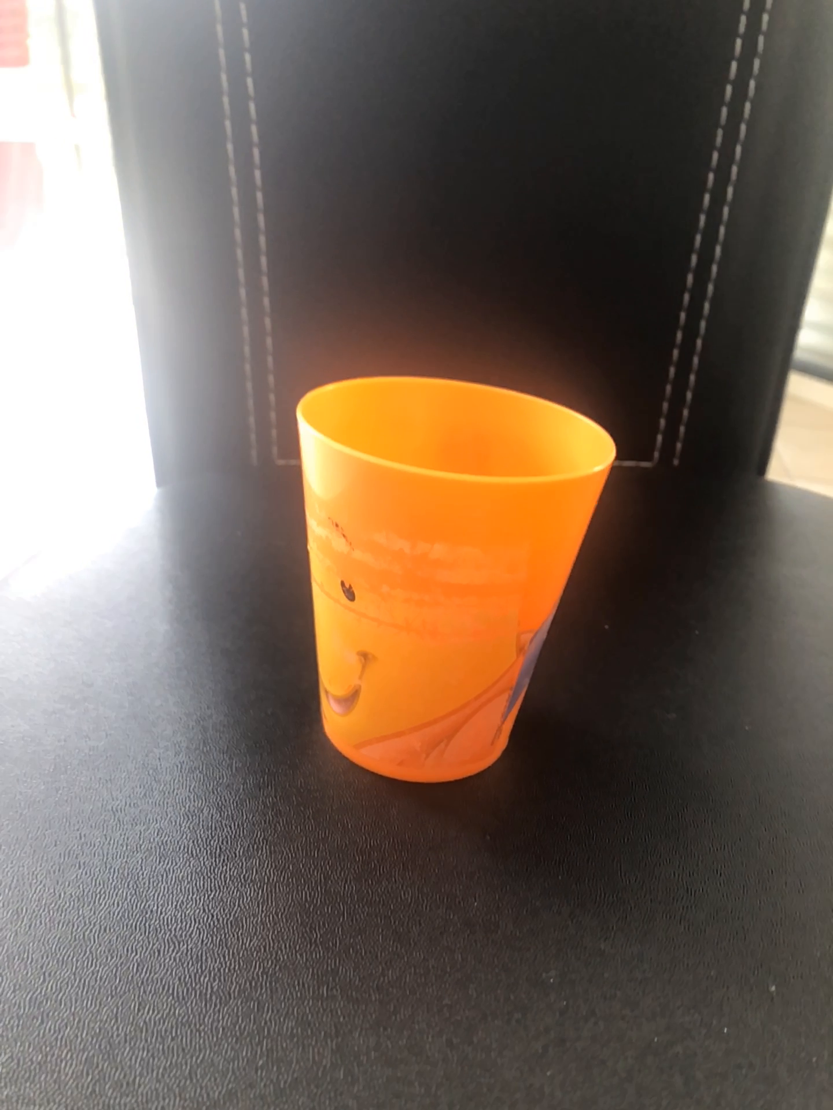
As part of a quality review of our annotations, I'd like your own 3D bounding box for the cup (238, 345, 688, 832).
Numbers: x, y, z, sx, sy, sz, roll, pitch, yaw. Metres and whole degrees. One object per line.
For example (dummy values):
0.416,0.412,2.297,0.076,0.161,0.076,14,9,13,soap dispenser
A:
0.007,0.001,0.252,0.080,0.089,0.080,4,26,-2,cup
